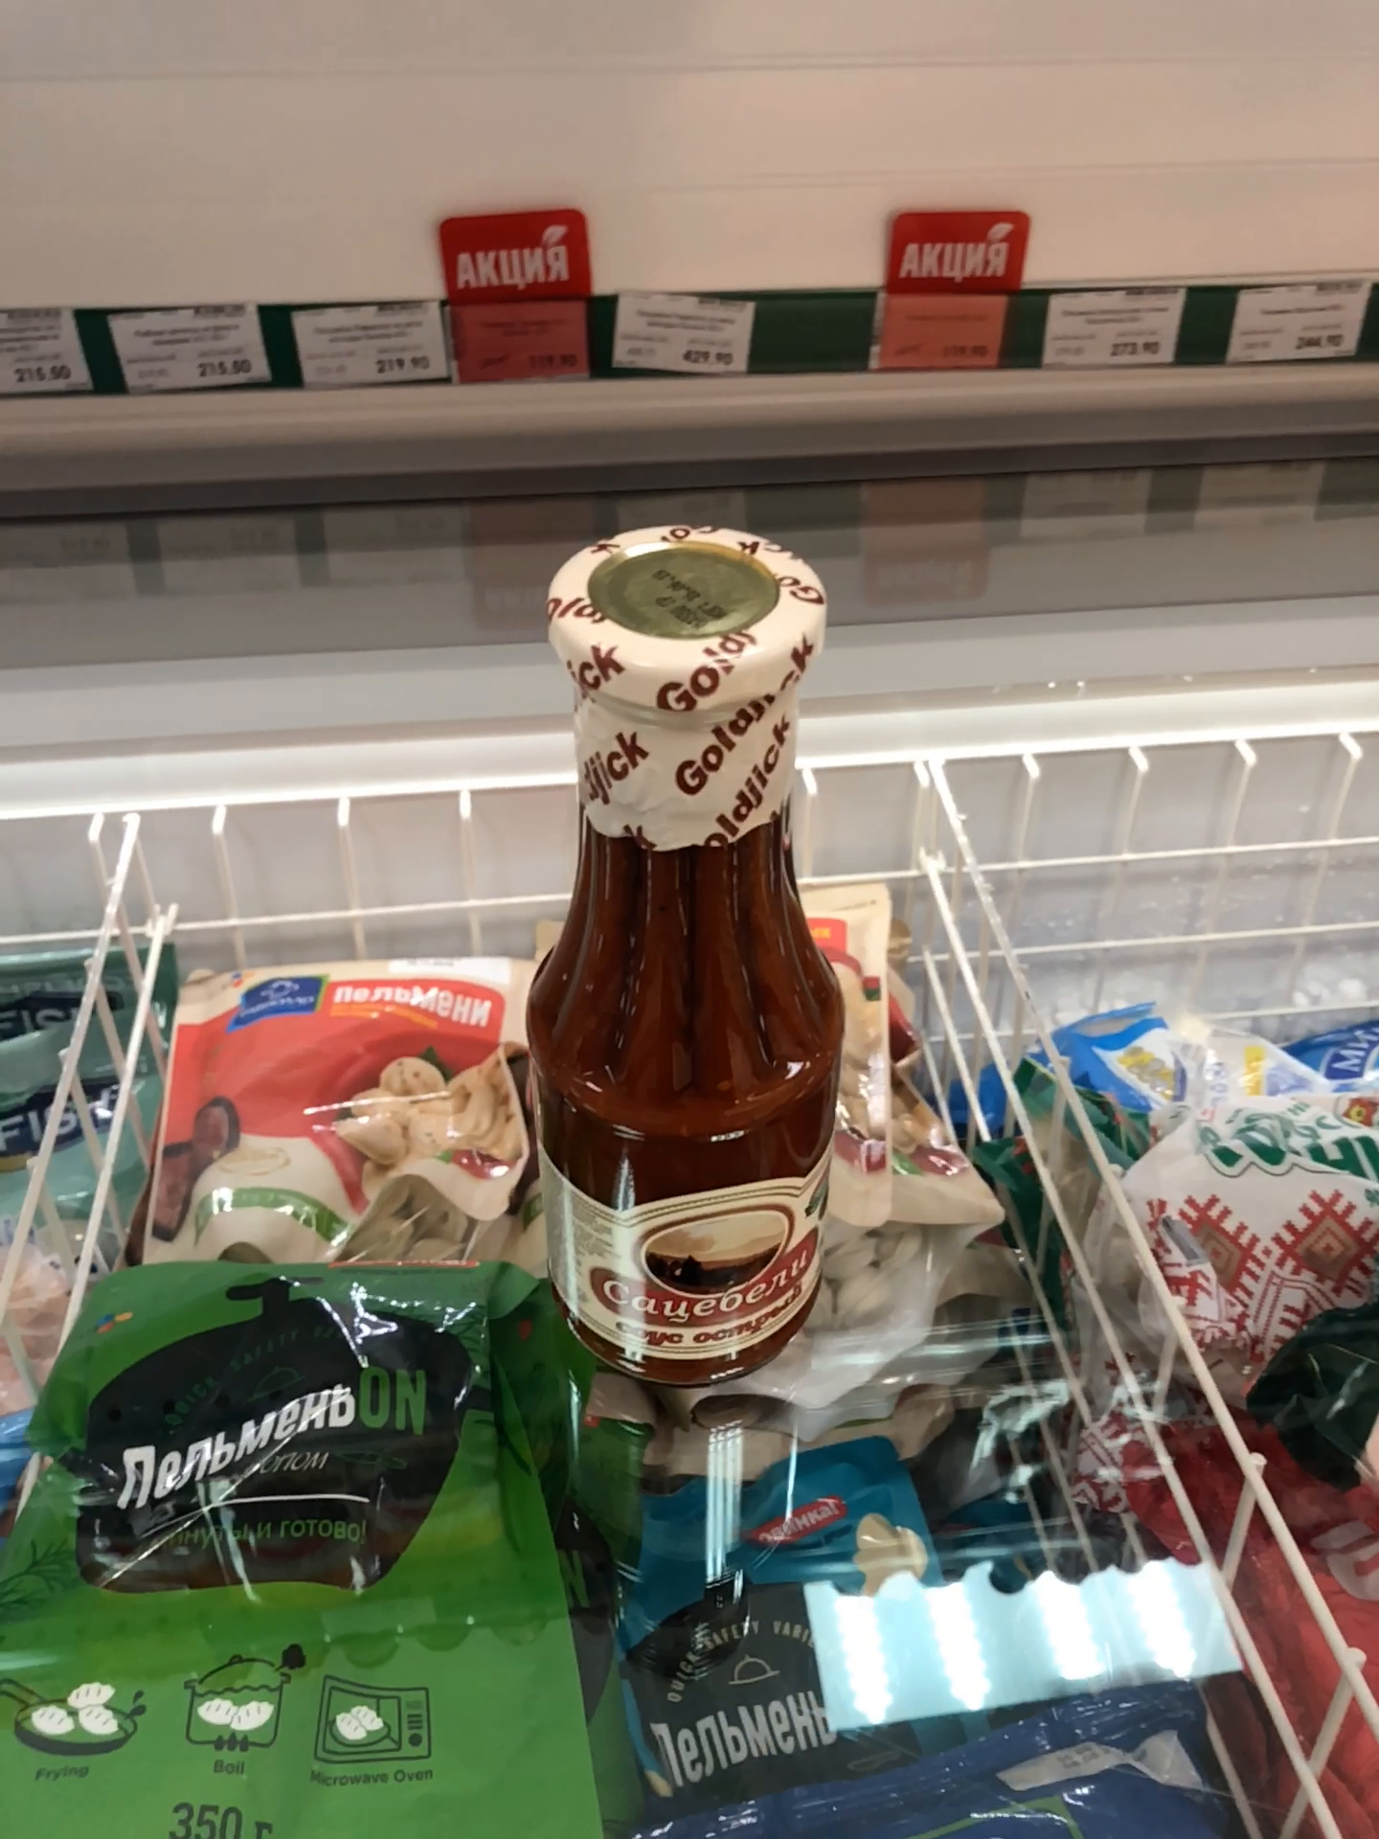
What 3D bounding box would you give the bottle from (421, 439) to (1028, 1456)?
[{"bbox_3d":[-0.001,0.012,0.296,0.080,0.179,0.080,1,39,-1],"label":"bottle"}]
